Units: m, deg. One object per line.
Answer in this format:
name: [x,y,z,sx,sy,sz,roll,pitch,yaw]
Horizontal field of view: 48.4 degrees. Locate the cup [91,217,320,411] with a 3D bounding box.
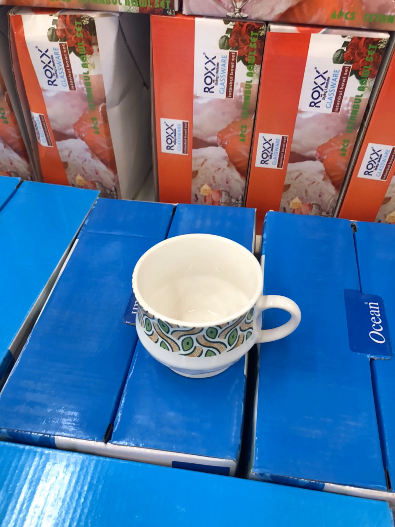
cup: [0.006,0.026,0.236,0.100,0.060,0.070,6,46,4]
